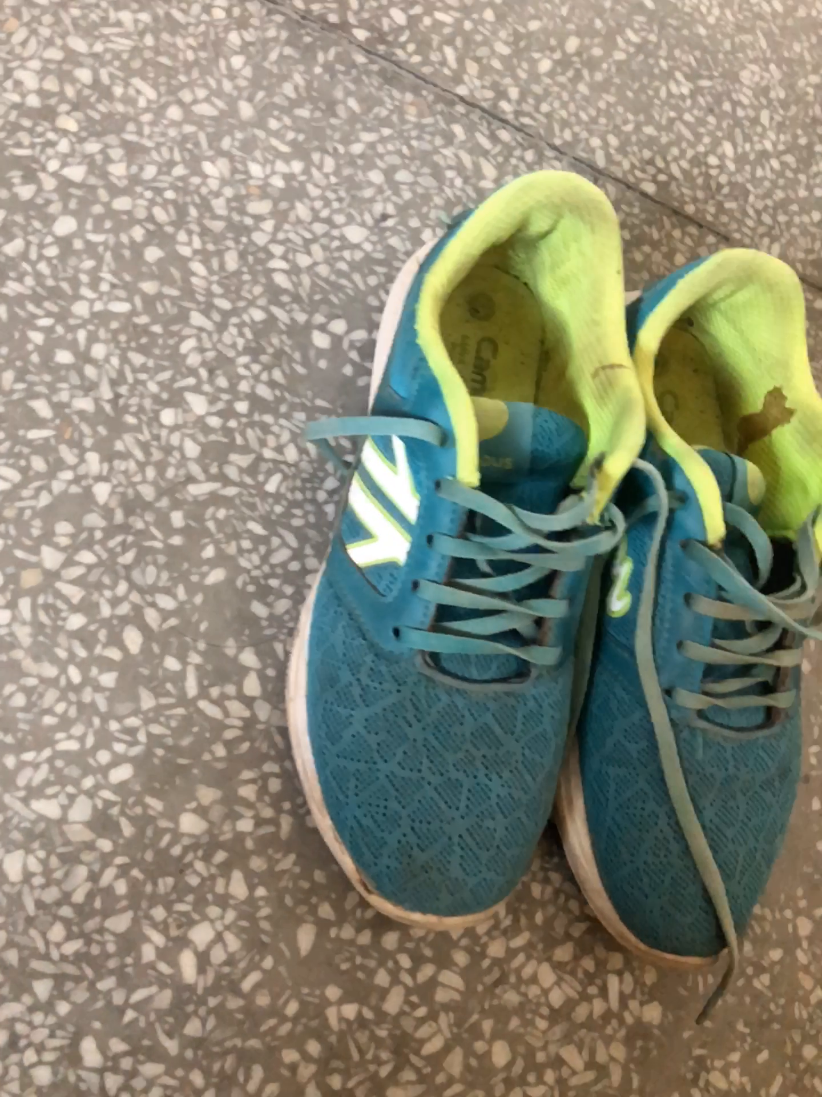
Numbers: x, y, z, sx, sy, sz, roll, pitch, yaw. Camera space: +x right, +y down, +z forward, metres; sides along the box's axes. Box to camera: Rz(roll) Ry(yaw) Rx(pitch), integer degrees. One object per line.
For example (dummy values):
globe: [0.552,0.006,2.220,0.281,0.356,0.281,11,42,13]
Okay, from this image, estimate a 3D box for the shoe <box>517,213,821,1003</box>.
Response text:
shoe: [0.102,0.021,0.315,0.095,0.088,0.229,8,75,-16]

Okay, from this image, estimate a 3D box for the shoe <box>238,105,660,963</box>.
shoe: [0.012,-0.002,0.295,0.091,0.091,0.230,10,75,-15]
